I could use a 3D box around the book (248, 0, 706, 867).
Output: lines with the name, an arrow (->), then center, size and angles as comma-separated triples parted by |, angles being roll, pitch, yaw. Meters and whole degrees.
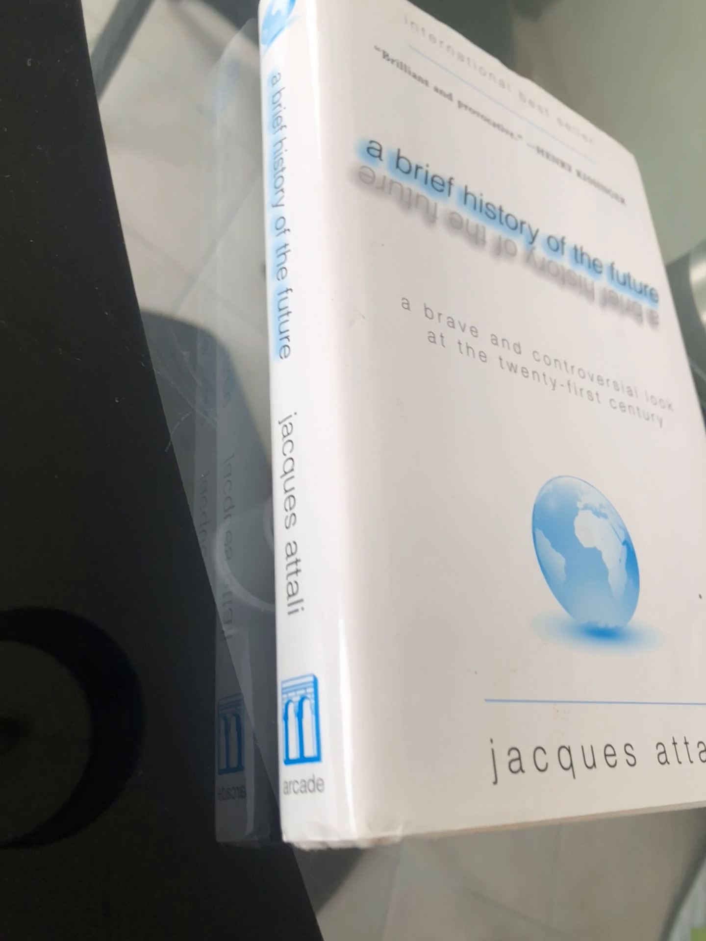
book -> 0.050, -0.024, 0.202 | 0.151, 0.040, 0.210 | 14, 63, -35
